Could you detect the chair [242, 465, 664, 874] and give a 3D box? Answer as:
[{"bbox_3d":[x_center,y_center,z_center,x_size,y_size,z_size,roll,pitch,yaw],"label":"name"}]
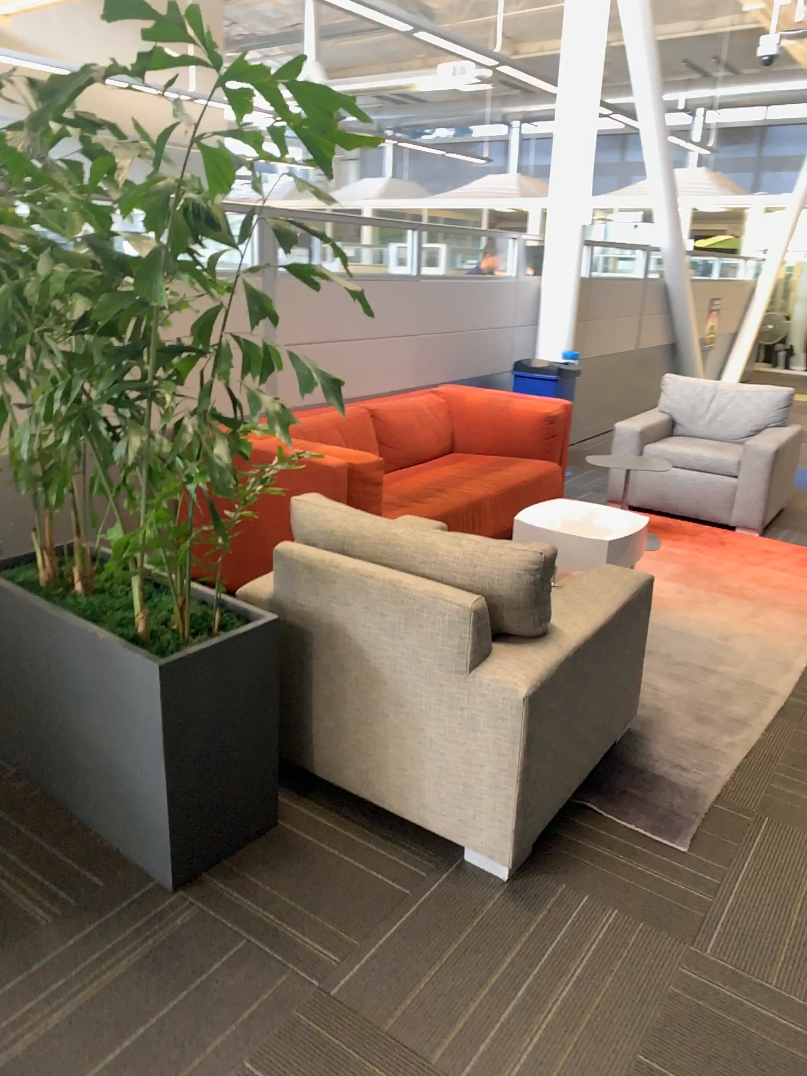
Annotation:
[{"bbox_3d":[0.160,0.282,2.495,0.922,0.727,0.872,13,21,30],"label":"chair"}]
